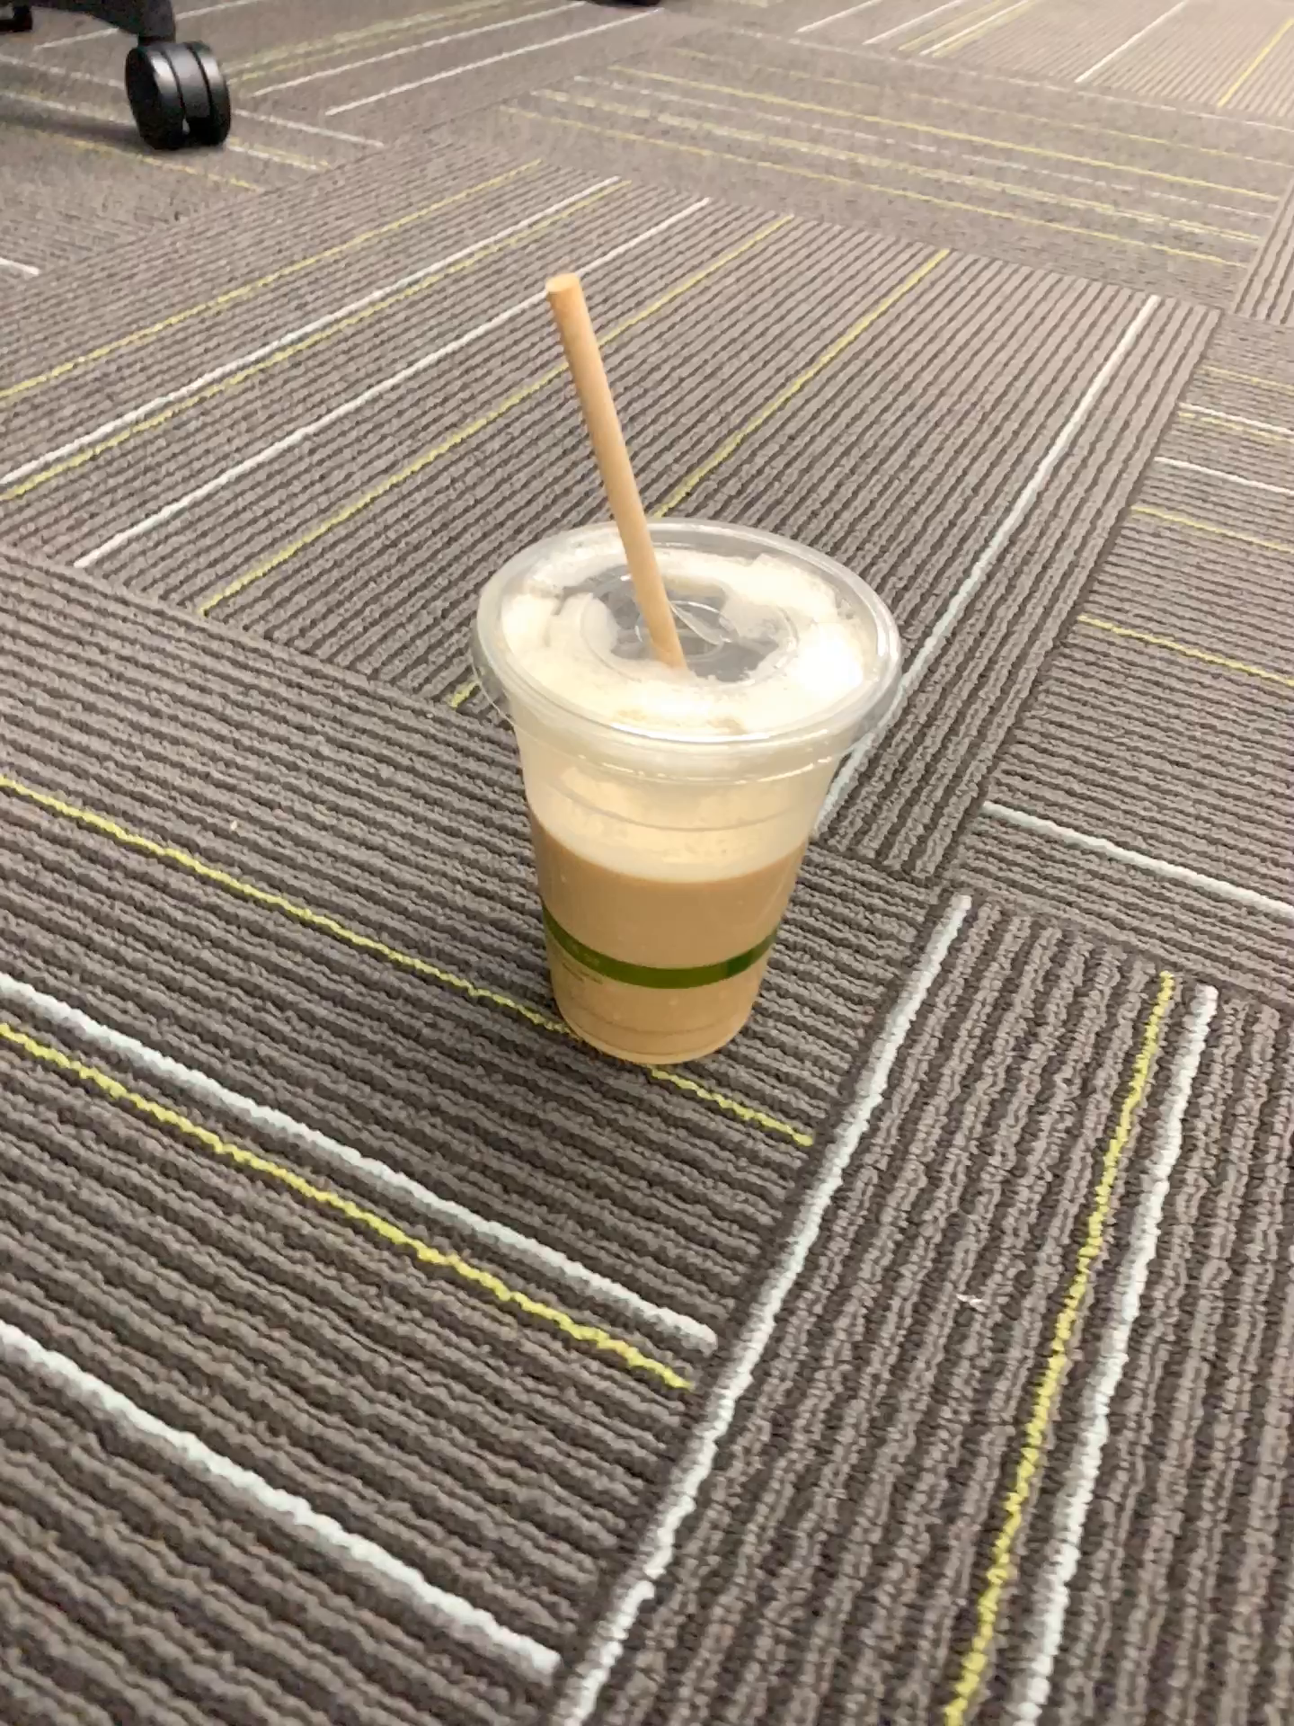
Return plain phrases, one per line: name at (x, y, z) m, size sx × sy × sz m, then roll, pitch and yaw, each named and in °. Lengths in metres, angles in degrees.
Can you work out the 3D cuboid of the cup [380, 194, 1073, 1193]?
cup at (0.009, -0.033, 0.306) m, size 0.090 × 0.189 × 0.090 m, roll 3°, pitch 42°, yaw -2°
